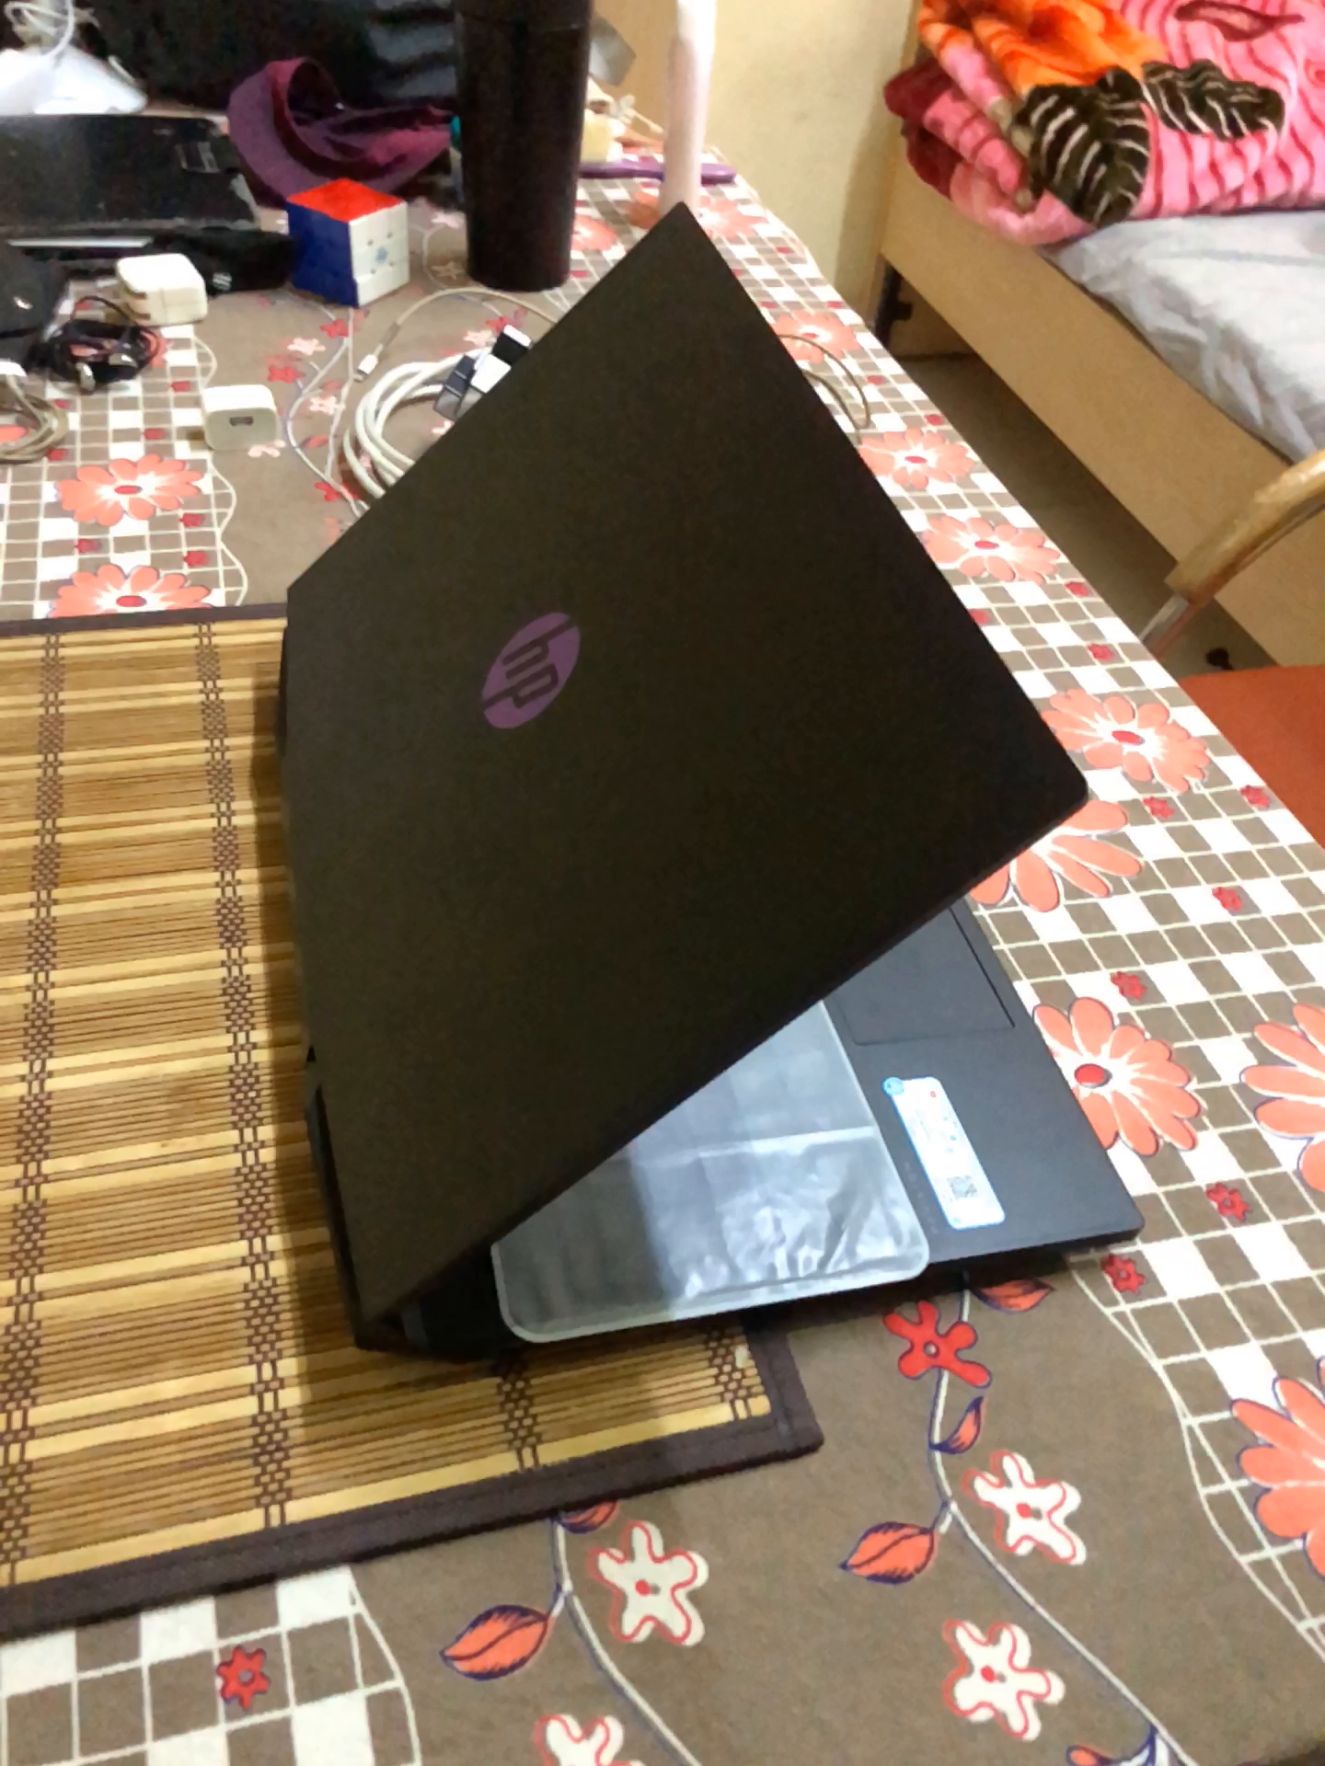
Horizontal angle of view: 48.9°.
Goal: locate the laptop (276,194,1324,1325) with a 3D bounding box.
[{"bbox_3d":[0.005,-0.068,0.501,0.237,0.164,0.357,-3,45,-16],"label":"laptop"}]
